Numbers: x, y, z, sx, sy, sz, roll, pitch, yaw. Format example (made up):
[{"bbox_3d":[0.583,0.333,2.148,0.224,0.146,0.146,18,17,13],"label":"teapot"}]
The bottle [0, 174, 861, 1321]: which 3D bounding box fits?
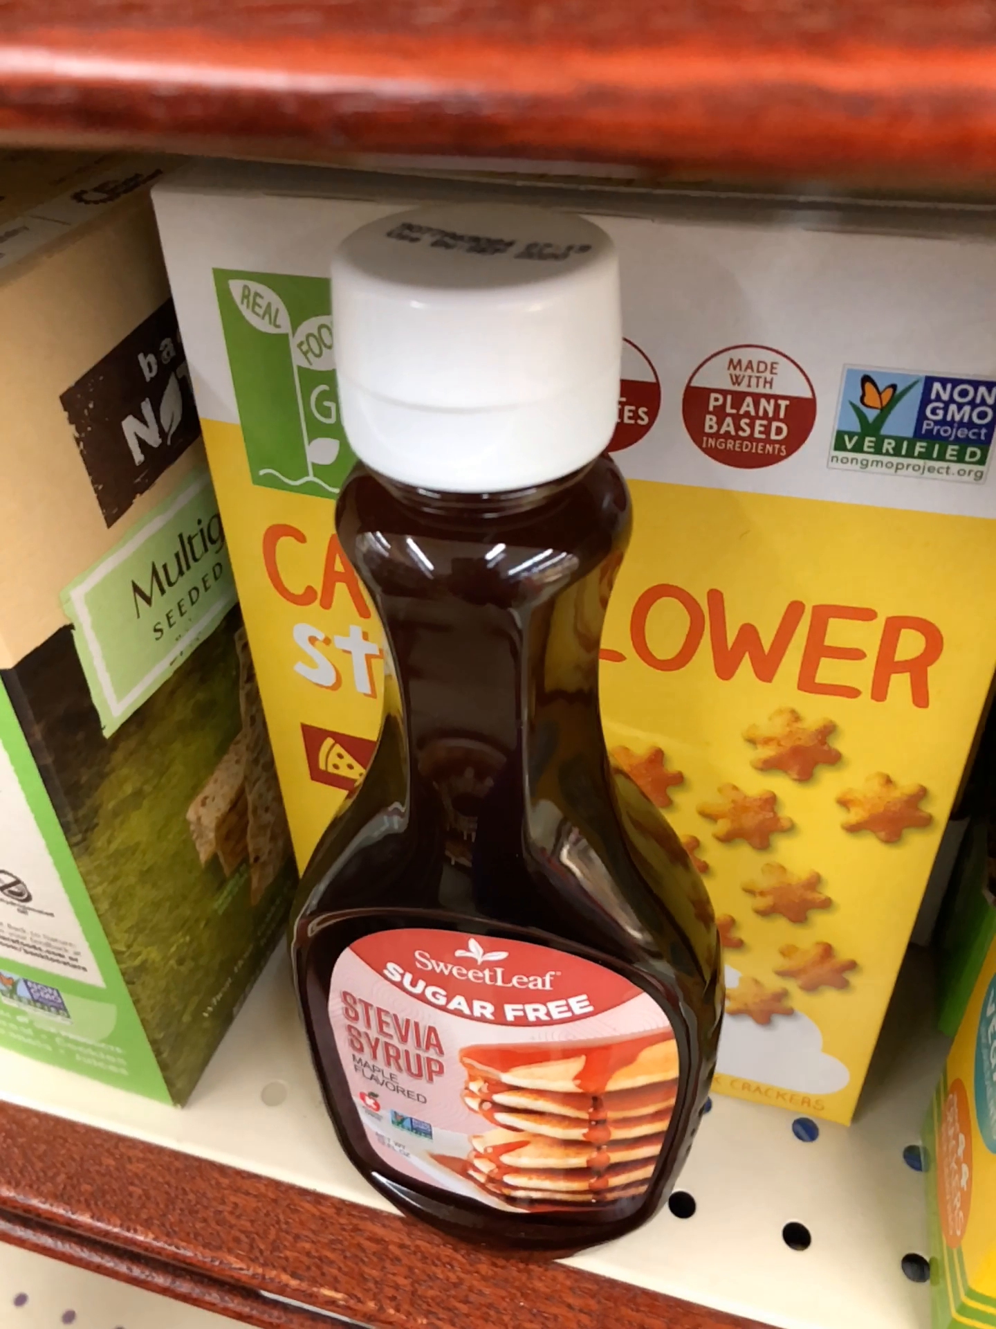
[{"bbox_3d":[-0.005,0.035,0.192,0.092,0.211,0.051,6,41,10],"label":"bottle"}]
